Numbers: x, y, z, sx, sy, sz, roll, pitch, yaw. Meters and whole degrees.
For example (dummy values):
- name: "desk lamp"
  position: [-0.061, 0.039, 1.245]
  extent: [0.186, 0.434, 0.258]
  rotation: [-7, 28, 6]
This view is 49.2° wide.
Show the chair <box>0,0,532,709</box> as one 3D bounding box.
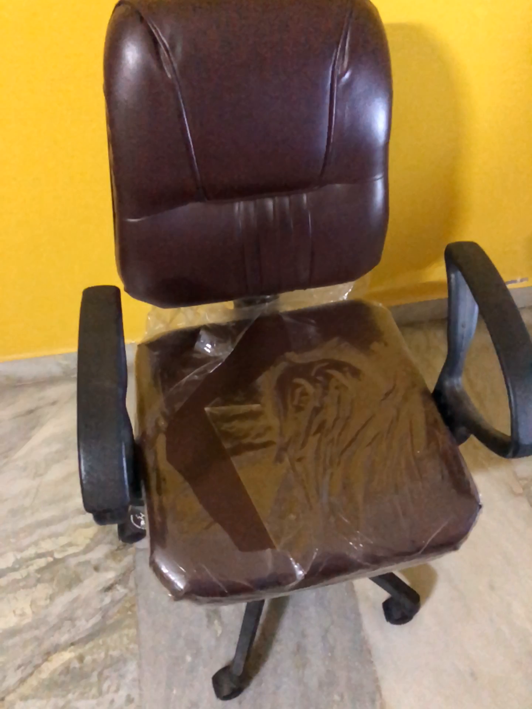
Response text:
- name: "chair"
  position: [0.021, 0.045, 0.889]
  extent: [0.691, 0.975, 0.683]
  rotation: [-12, 53, -9]
